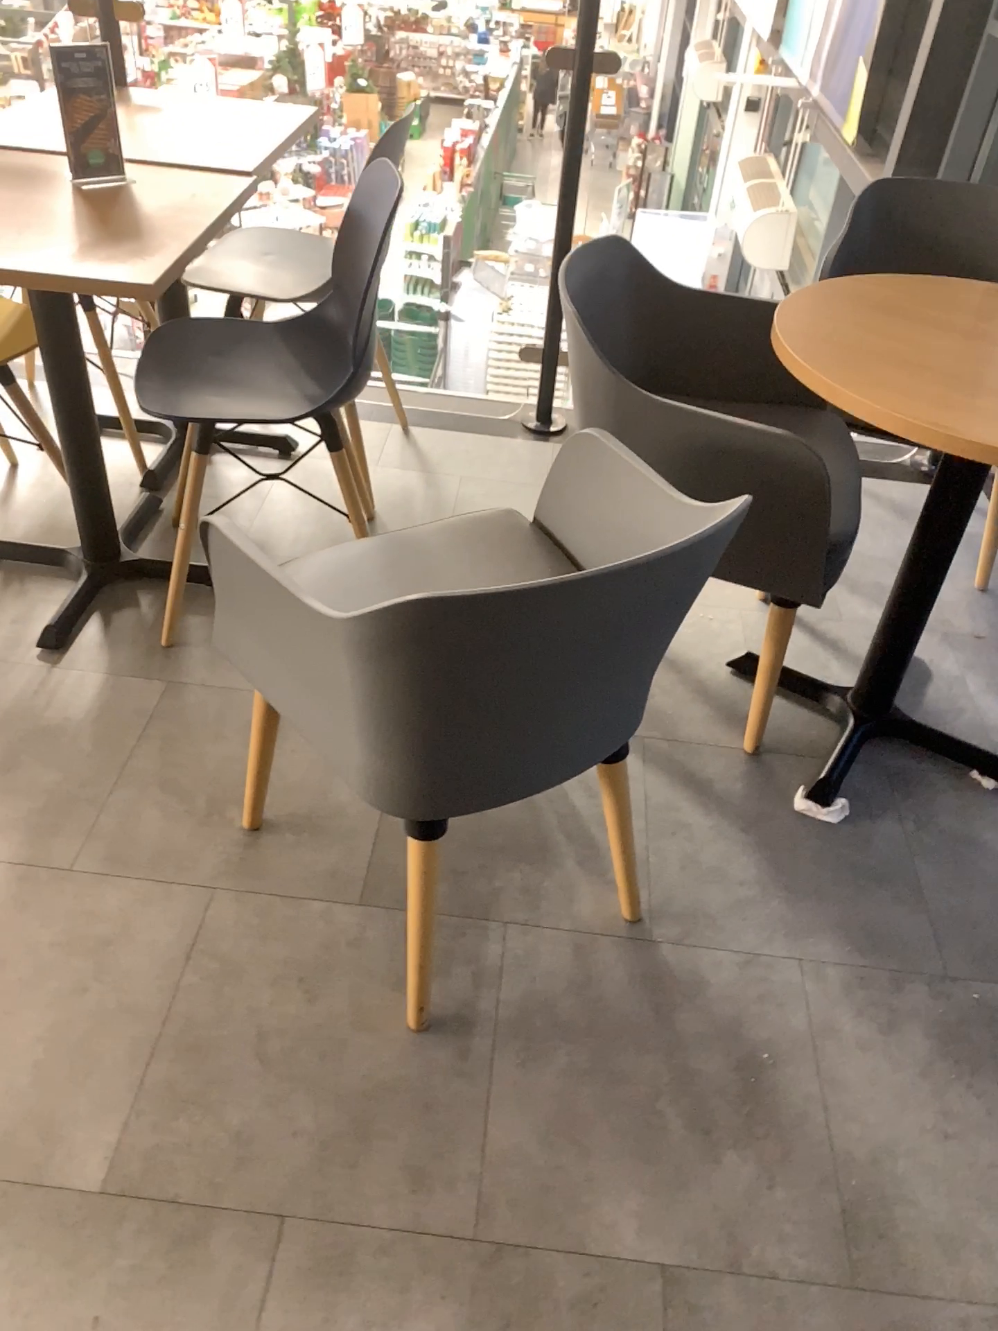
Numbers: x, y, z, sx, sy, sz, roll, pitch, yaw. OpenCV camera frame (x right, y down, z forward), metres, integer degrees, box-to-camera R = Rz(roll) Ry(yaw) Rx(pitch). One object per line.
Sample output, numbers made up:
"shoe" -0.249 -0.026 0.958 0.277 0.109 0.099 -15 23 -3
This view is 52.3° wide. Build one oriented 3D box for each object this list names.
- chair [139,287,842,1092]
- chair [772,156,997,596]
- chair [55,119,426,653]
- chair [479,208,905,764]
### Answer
"chair" -0.058 0.001 1.344 0.545 0.734 0.584 -20 46 -28
"chair" 0.952 -0.655 2.280 0.484 0.724 0.585 10 38 6
"chair" -0.441 -0.496 1.858 0.510 0.784 0.478 -4 40 -13
"chair" 0.318 -0.323 1.803 0.540 0.724 0.518 13 39 10
